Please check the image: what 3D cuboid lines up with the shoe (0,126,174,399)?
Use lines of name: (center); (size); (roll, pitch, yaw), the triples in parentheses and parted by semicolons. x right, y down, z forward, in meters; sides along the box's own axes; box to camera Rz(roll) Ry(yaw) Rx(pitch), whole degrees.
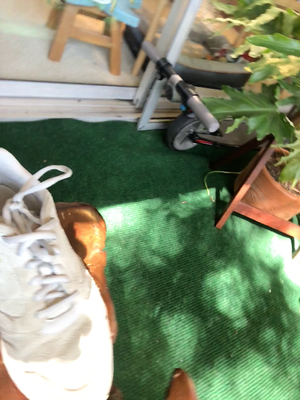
shoe: (-0.107, 0.060, 0.303); (0.103, 0.091, 0.263); (-17, 62, -37)
